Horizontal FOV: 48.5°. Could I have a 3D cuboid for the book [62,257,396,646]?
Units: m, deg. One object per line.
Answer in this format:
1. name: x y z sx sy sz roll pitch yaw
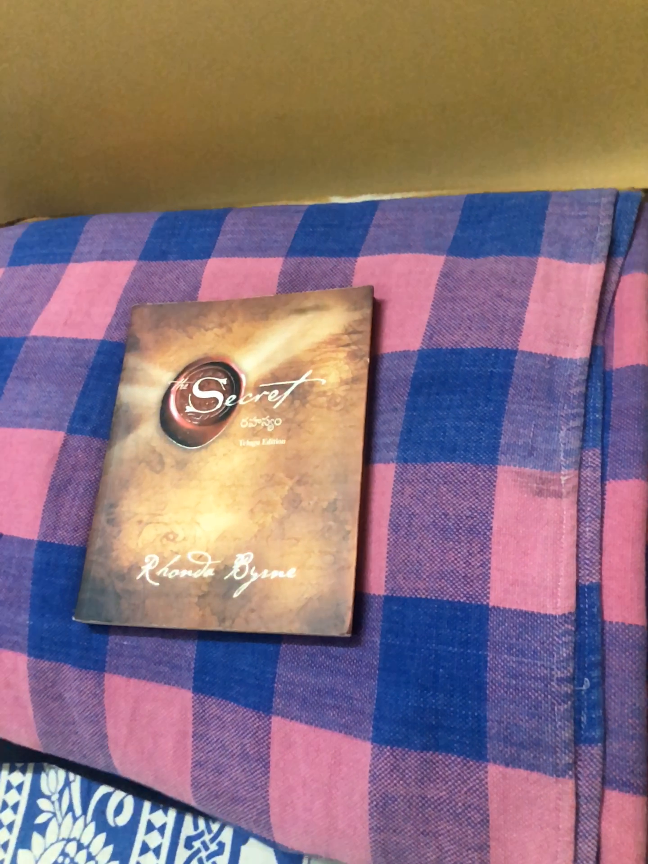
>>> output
1. book: -0.045 0.005 0.368 0.150 0.020 0.190 -3 66 21
